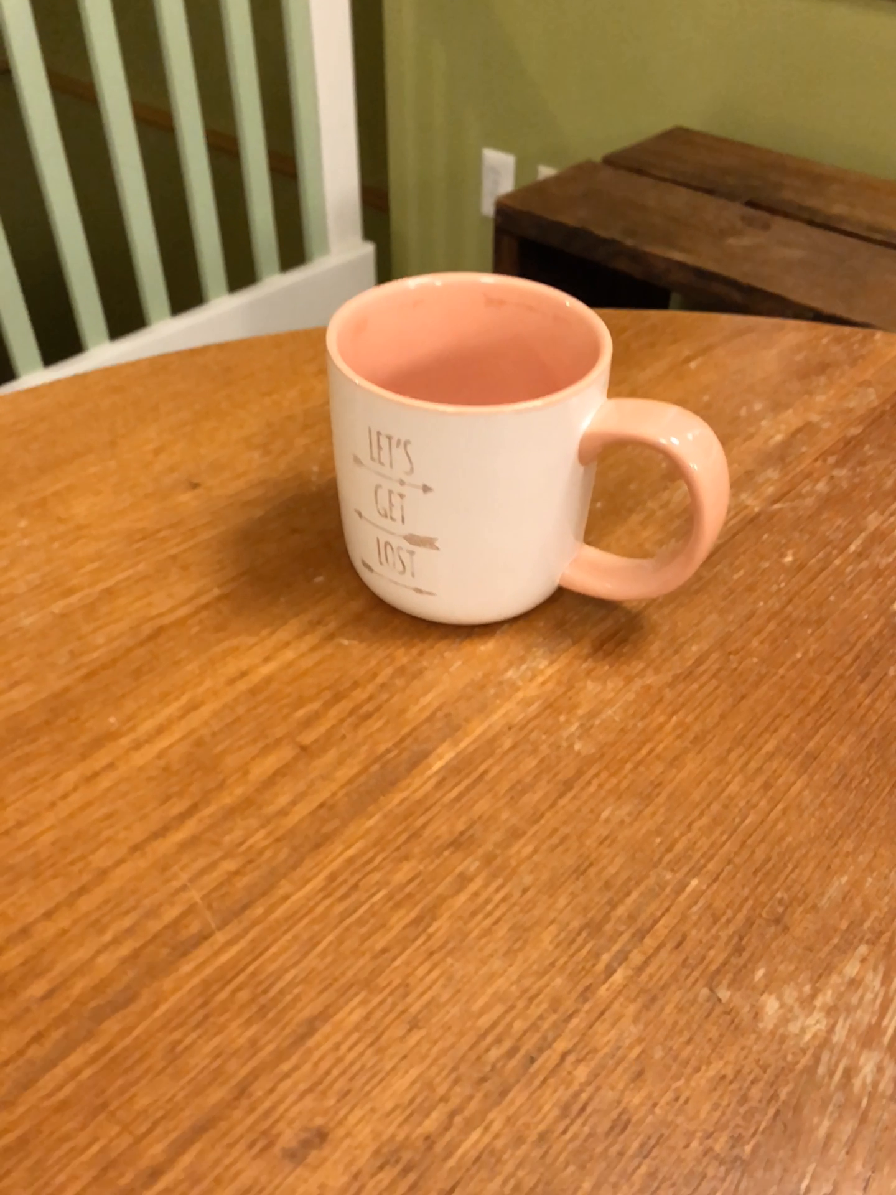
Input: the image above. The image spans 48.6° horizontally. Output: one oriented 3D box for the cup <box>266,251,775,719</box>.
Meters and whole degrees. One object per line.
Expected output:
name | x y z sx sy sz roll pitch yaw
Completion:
cup | 0.026 -0.046 0.363 0.144 0.106 0.094 17 44 18
